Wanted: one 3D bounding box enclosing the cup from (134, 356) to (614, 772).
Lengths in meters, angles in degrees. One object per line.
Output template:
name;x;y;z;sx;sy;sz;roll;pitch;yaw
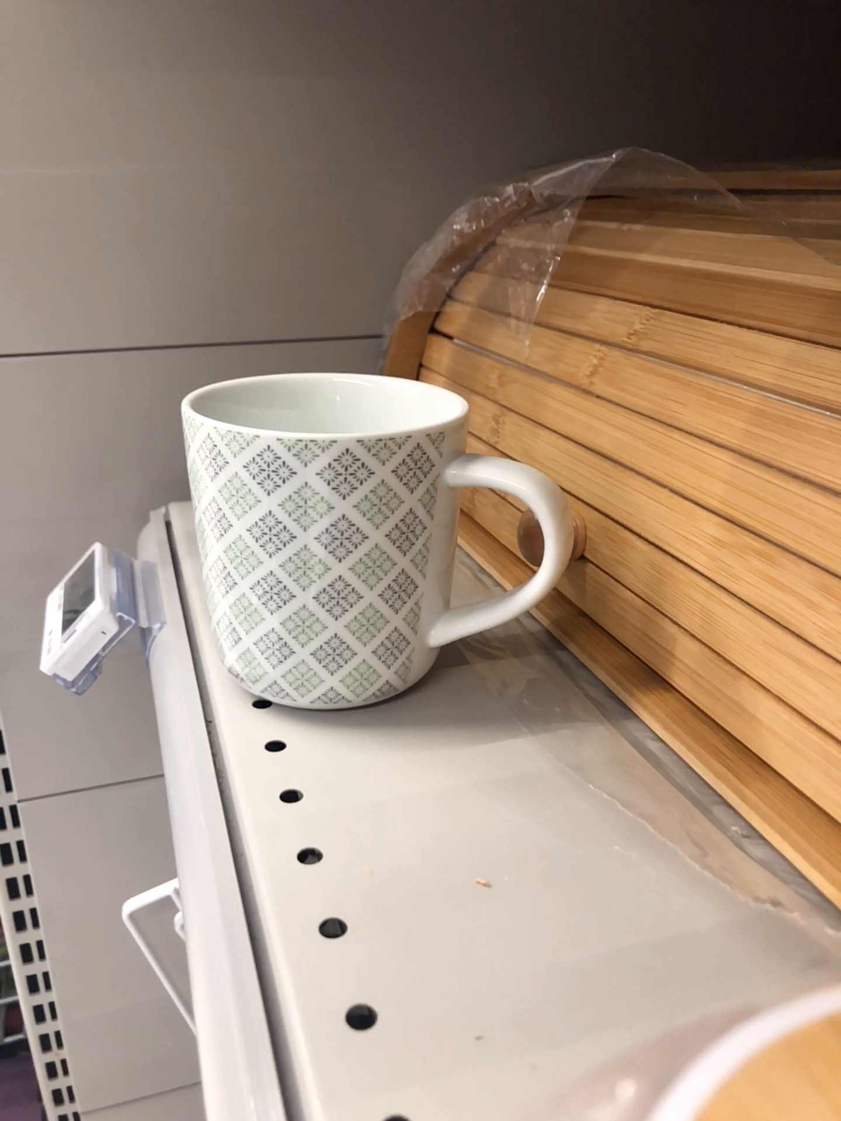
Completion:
cup;-0.010;-0.008;0.294;0.118;0.090;0.086;9;23;19
